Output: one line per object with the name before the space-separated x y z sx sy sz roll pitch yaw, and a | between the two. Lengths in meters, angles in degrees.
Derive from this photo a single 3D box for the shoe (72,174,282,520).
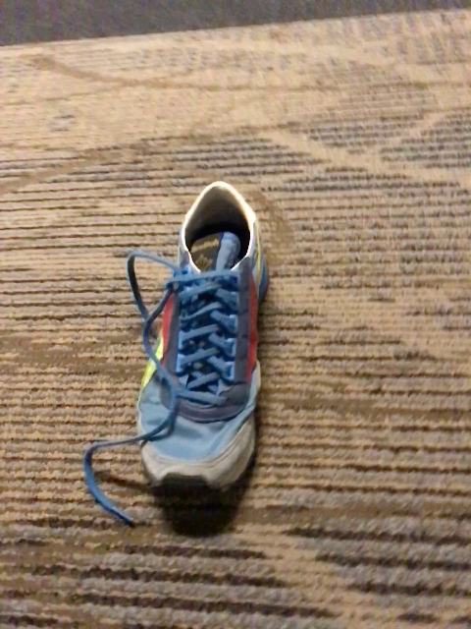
shoe | -0.025 0.010 0.407 0.101 0.095 0.261 2 53 9
